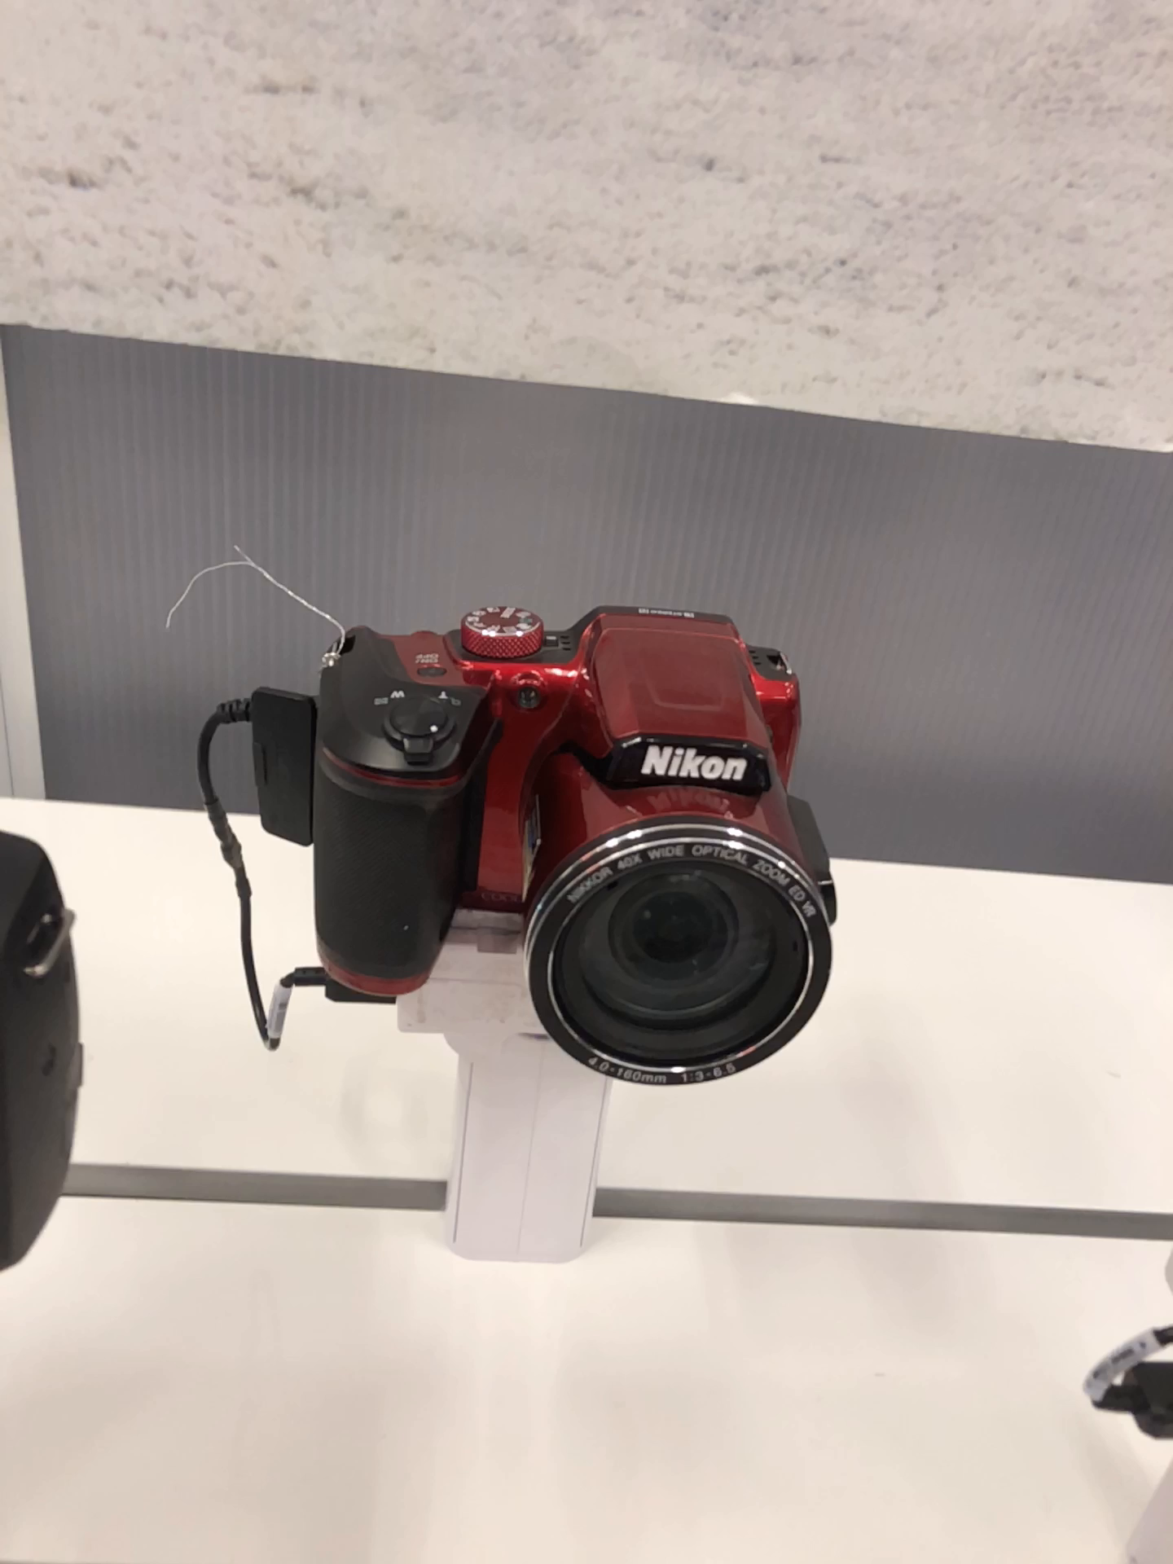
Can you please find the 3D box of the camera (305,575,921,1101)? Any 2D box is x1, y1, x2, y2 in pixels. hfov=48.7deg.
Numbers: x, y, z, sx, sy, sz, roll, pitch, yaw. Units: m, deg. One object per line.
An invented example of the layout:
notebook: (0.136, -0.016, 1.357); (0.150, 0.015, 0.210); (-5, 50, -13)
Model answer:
camera: (0.000, 0.010, 0.286); (0.110, 0.073, 0.084); (5, 29, -6)
